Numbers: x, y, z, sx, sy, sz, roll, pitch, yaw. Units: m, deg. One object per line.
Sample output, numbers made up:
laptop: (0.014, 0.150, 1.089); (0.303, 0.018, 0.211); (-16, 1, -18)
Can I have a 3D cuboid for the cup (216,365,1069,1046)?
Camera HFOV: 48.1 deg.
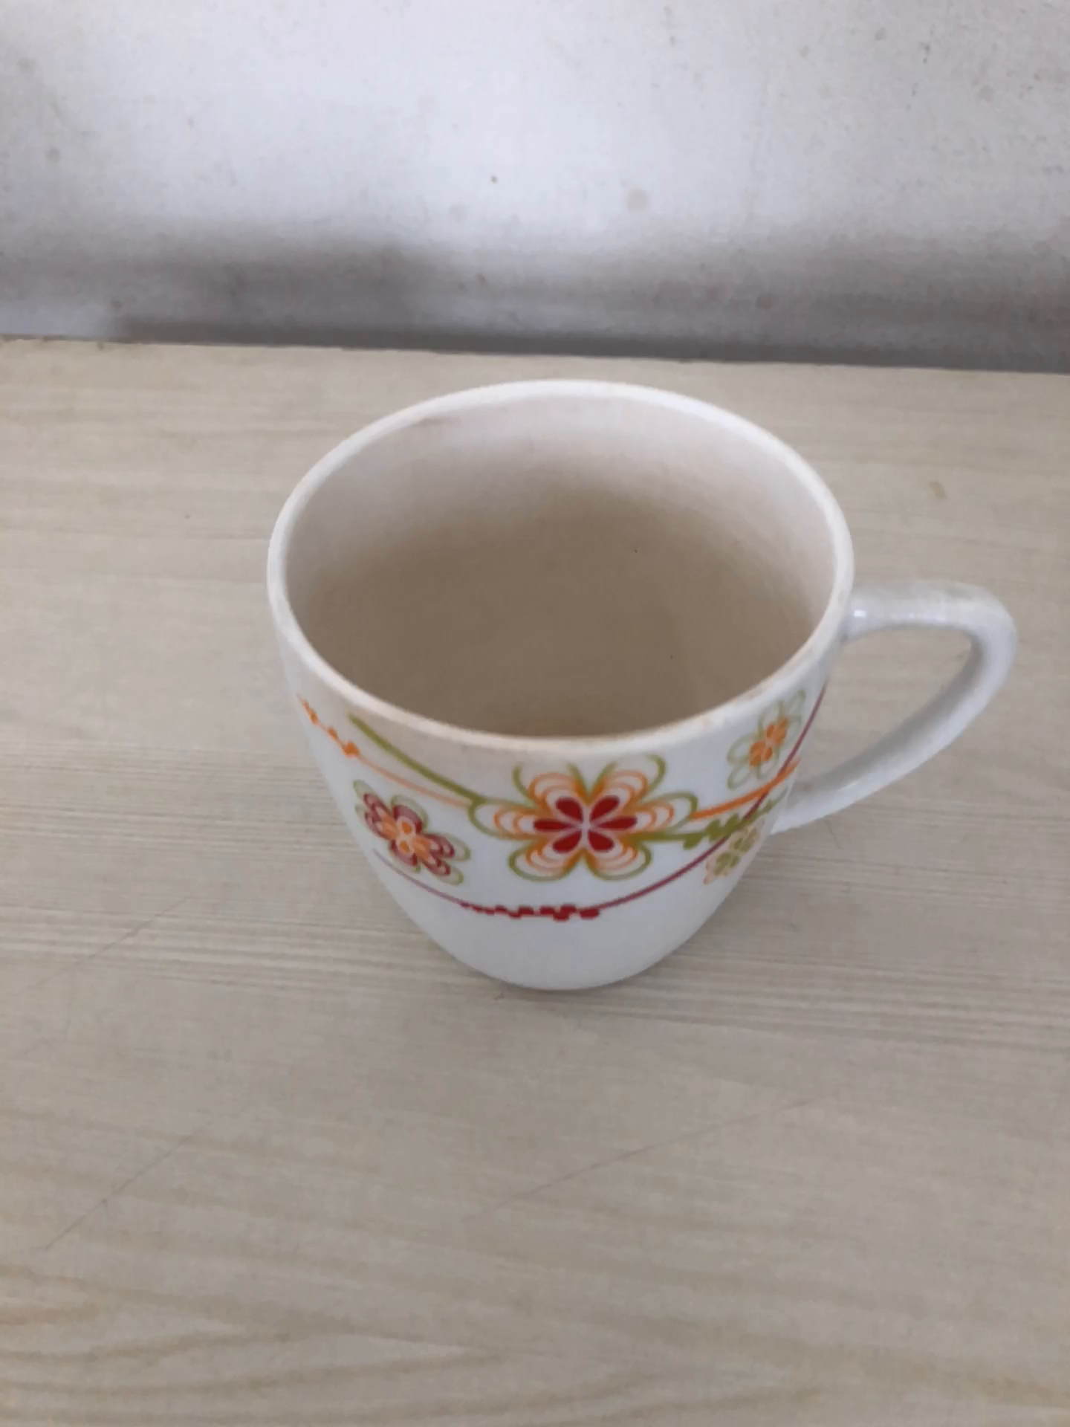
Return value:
cup: (0.022, -0.001, 0.176); (0.110, 0.070, 0.070); (-1, 46, 0)
